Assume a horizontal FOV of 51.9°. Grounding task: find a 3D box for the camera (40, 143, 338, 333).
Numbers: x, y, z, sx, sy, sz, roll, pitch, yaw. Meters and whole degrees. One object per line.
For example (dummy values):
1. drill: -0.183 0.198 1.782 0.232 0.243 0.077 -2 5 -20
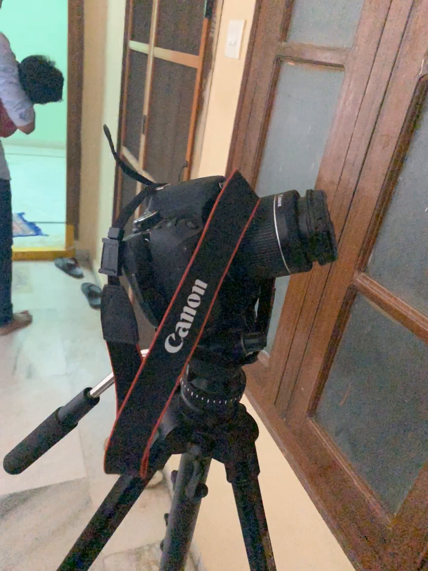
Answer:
1. camera: -0.010 -0.047 0.410 0.225 0.100 0.142 -8 22 17
